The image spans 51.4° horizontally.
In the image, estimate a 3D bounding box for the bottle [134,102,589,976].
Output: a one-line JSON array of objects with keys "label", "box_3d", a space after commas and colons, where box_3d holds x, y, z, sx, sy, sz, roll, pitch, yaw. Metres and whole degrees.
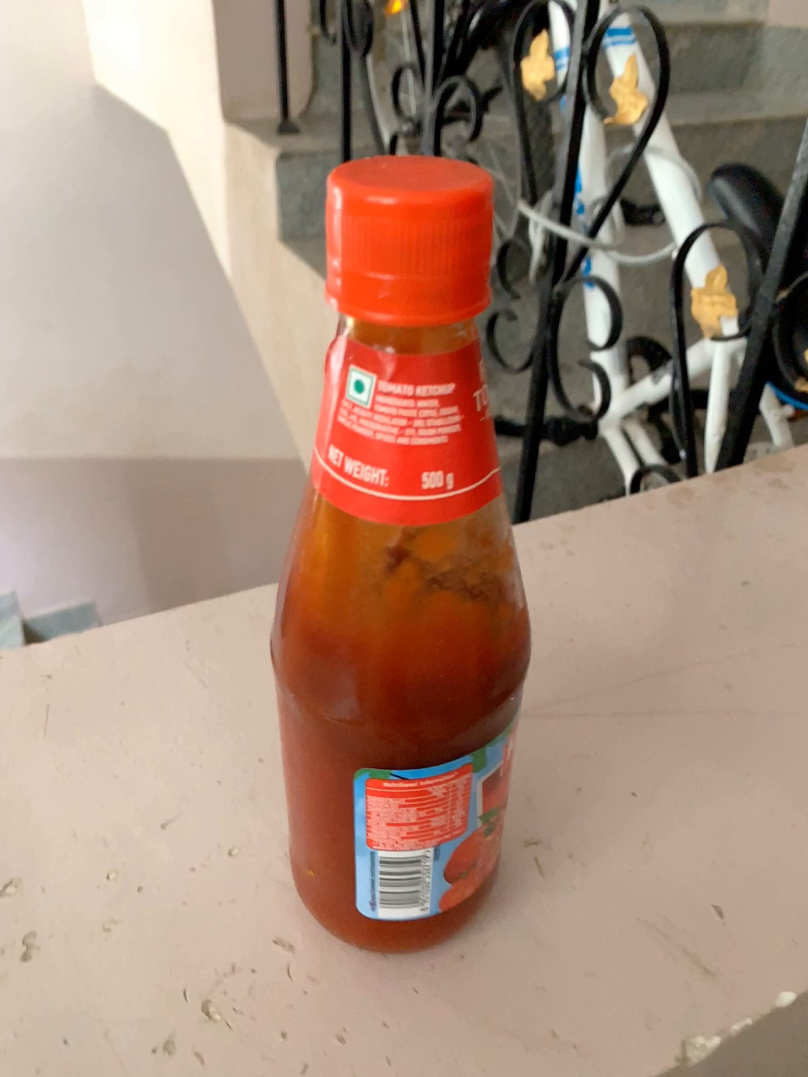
[{"label": "bottle", "box_3d": [-0.004, 0.015, 0.218, 0.070, 0.218, 0.071, 1, 35, -1]}]
